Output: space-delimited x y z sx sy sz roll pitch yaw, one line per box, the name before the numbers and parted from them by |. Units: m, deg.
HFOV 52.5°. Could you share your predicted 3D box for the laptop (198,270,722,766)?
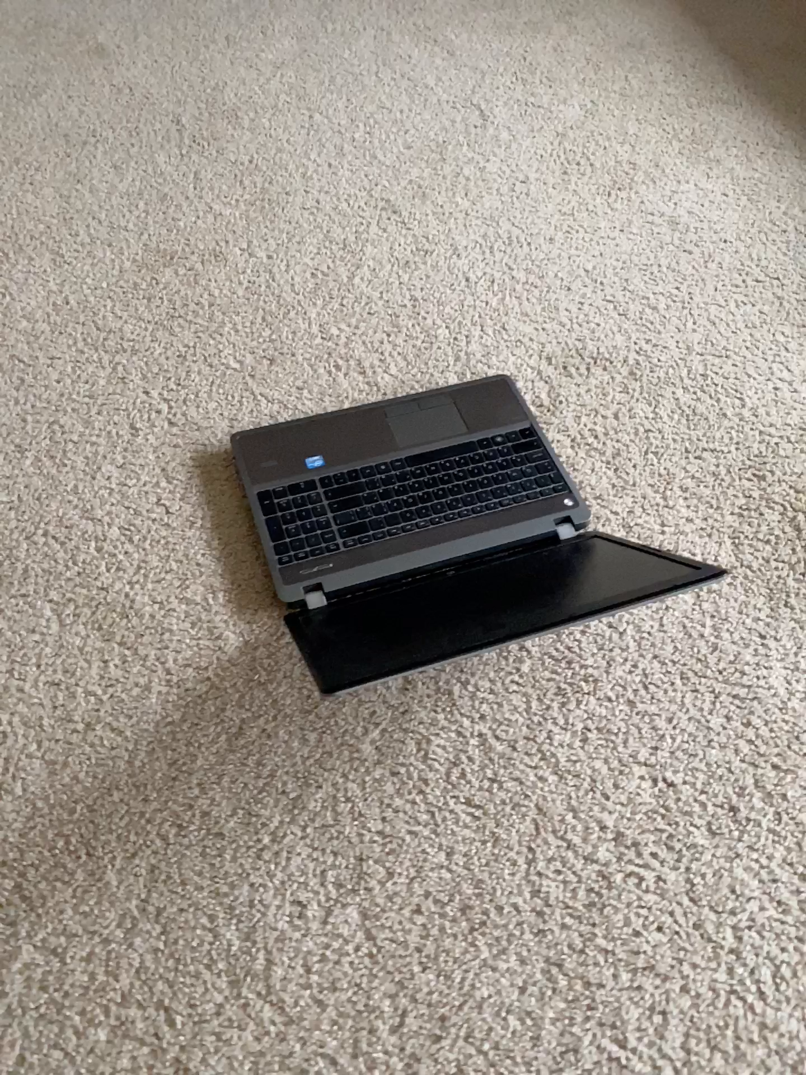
laptop | 0.029 -0.049 0.860 0.374 0.162 0.436 -15 57 -13
